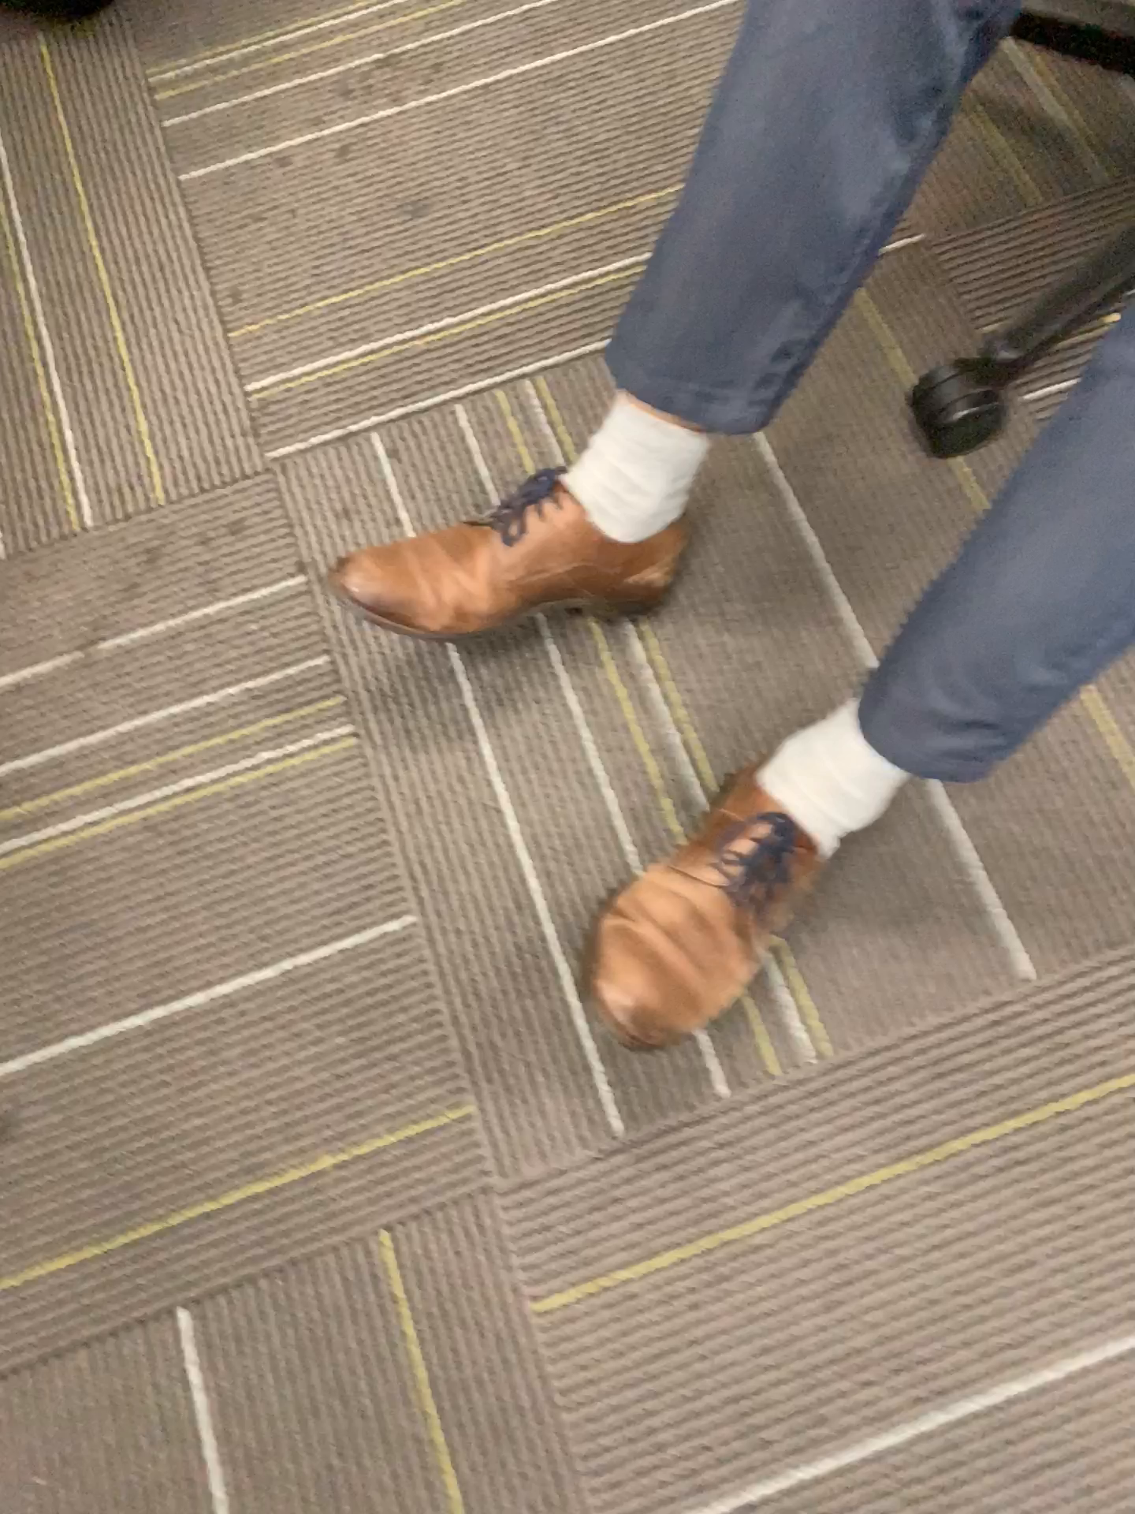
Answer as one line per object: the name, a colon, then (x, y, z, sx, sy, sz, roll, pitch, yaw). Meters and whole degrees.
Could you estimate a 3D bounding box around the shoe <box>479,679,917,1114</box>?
shoe: (0.089, 0.082, 0.743, 0.121, 0.084, 0.272, 47, 58, 5)

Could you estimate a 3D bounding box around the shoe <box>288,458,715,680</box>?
shoe: (-0.047, -0.141, 0.836, 0.281, 0.074, 0.103, -13, 47, -21)
